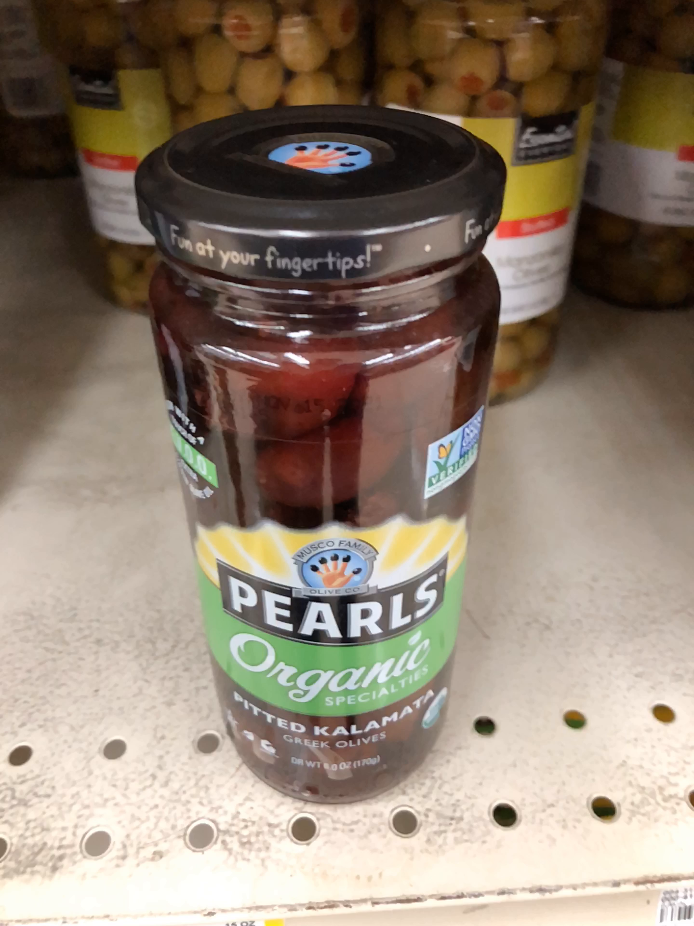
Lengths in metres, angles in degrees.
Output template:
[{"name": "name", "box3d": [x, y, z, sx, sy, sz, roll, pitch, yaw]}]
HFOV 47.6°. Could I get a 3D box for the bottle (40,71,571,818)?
[{"name": "bottle", "box3d": [-0.005, 0.008, 0.164, 0.062, 0.150, 0.060, 0, 40, 0]}]
